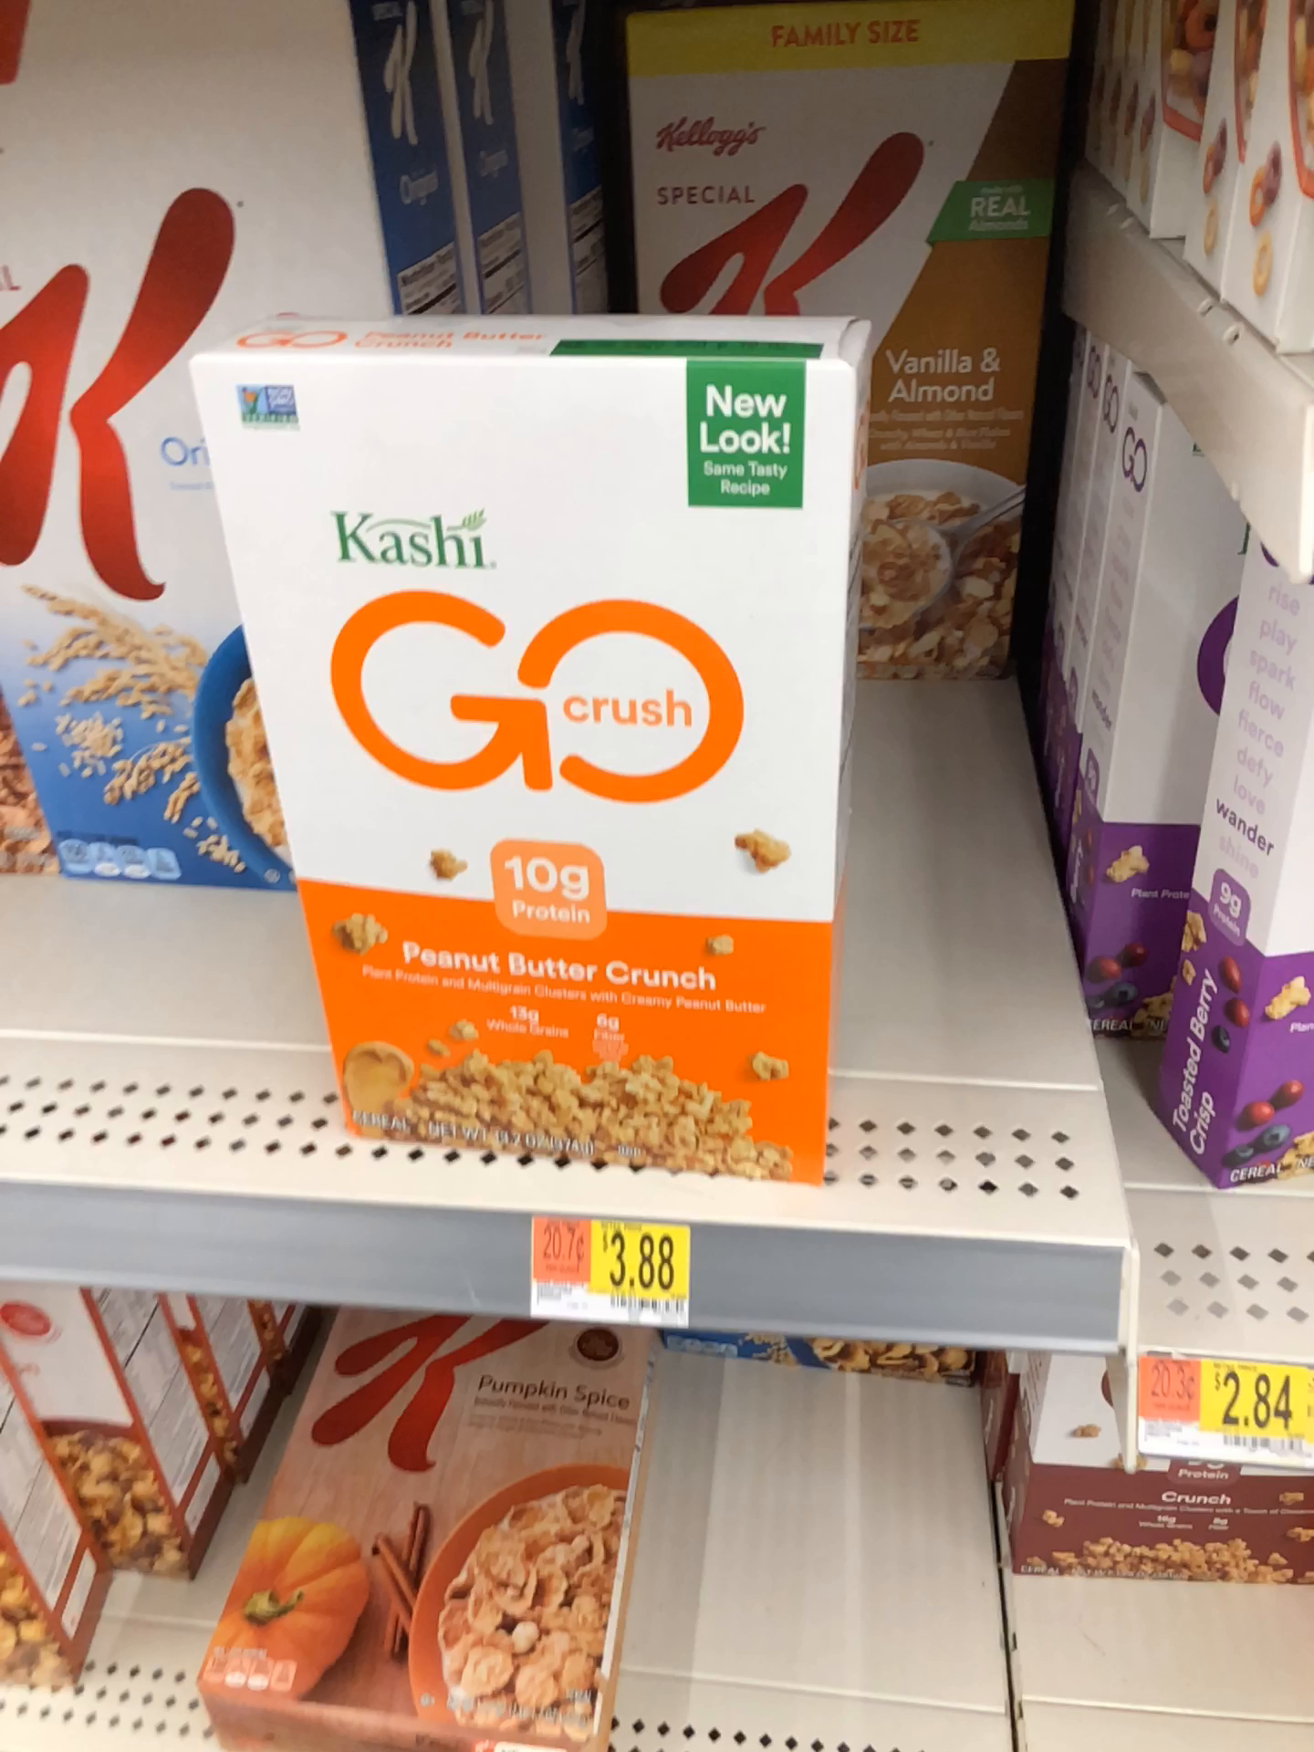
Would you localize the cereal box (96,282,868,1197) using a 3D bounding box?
[{"bbox_3d":[-0.032,-0.026,0.403,0.170,0.249,0.050,4,35,11],"label":"cereal box"}]
